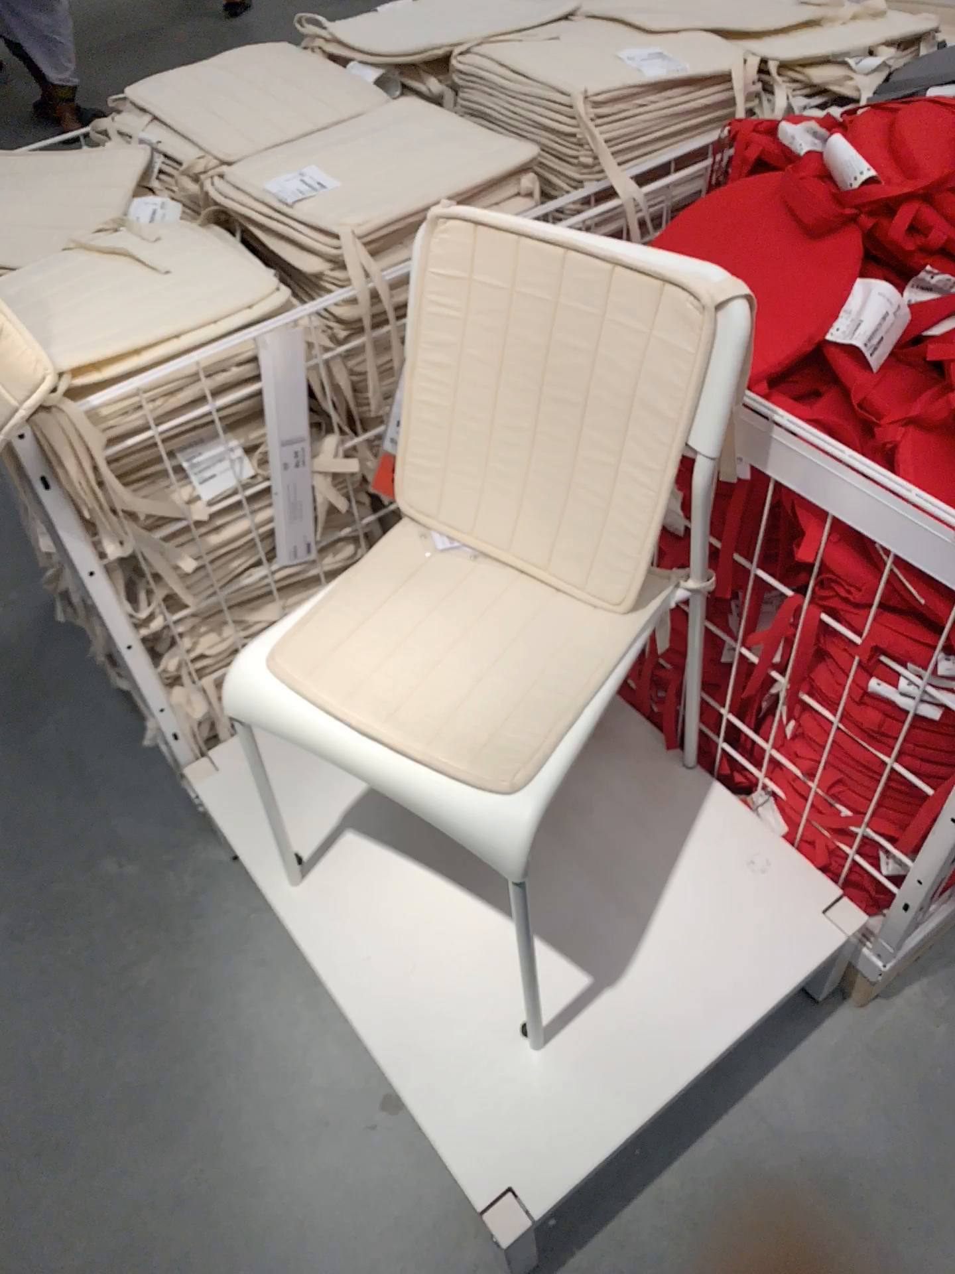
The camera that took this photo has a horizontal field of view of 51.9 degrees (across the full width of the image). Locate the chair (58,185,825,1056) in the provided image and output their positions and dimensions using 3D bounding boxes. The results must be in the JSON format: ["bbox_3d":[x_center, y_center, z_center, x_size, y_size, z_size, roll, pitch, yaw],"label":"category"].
[{"bbox_3d":[0.009,-0.001,1.060,0.431,0.697,0.481,25,55,26],"label":"chair"}]
